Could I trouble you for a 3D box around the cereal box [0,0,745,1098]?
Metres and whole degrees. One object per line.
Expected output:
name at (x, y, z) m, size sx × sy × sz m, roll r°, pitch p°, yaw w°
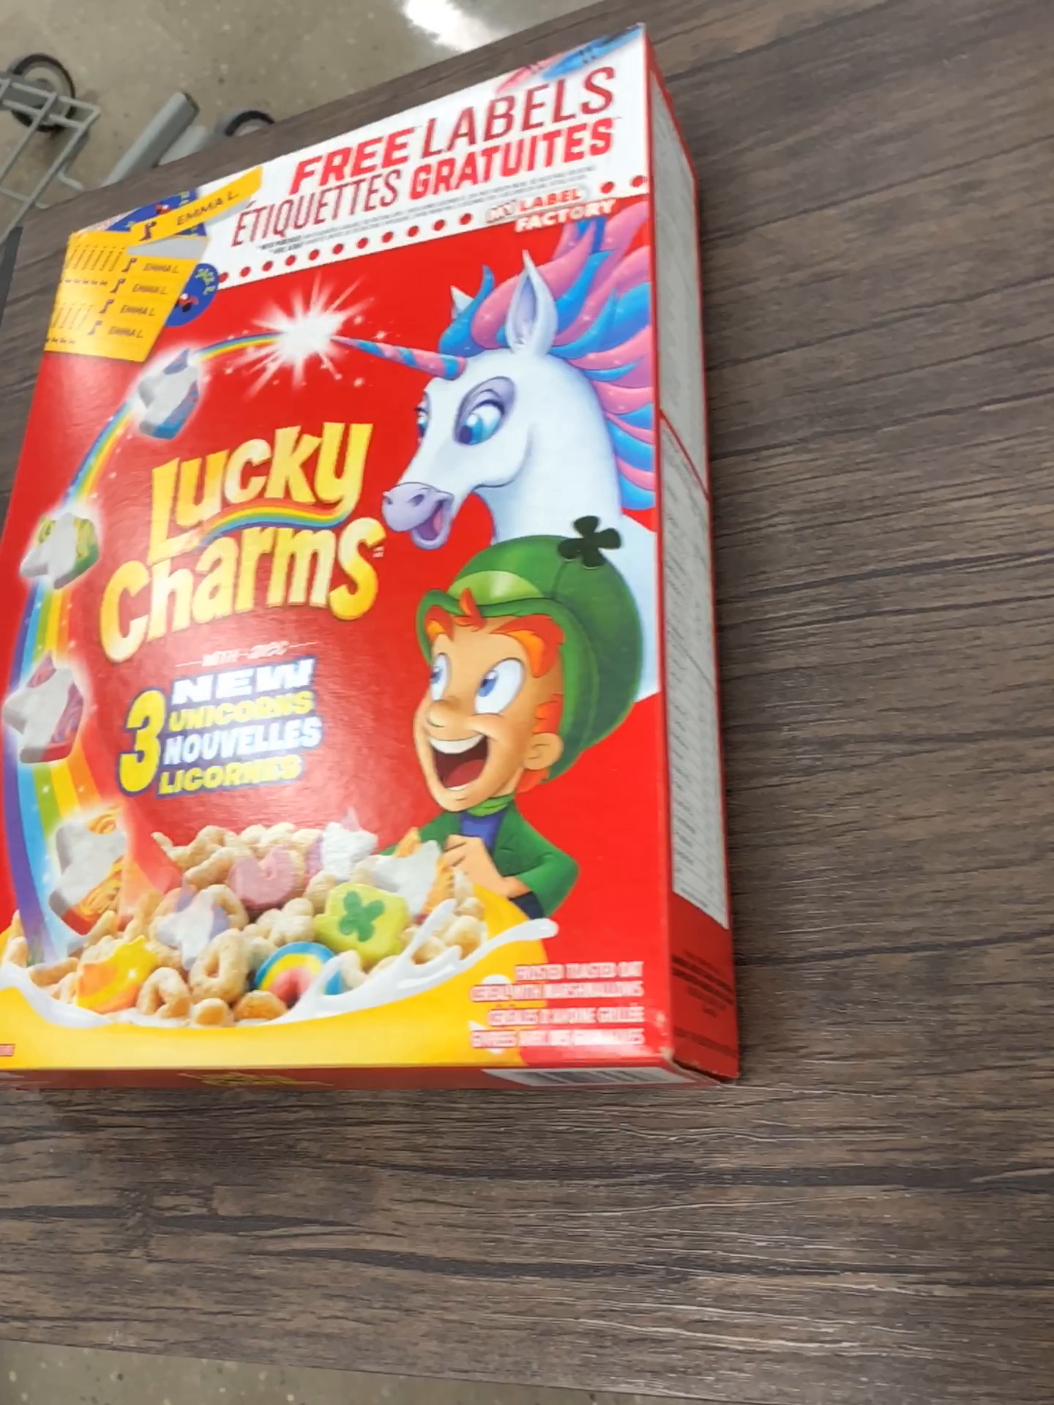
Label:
cereal box at (-0.059, -0.048, 0.382) m, size 0.231 × 0.080 × 0.330 m, roll -8°, pitch 65°, yaw 22°
